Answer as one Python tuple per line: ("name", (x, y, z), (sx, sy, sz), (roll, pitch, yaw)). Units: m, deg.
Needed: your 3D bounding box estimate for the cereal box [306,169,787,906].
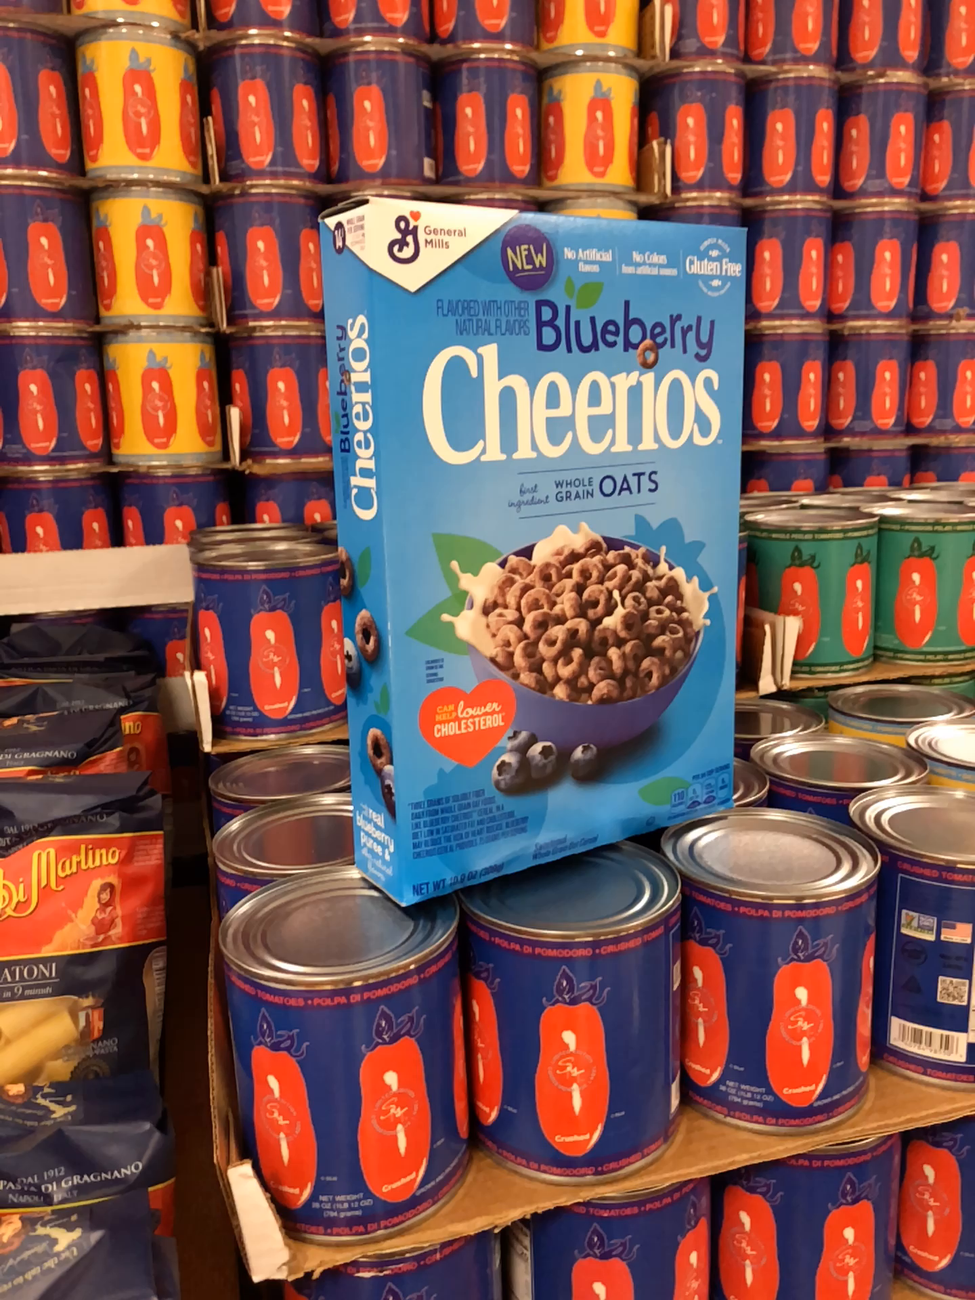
("cereal box", (0.034, -0.053, 0.486), (0.210, 0.279, 0.060), (-9, 15, -33))
